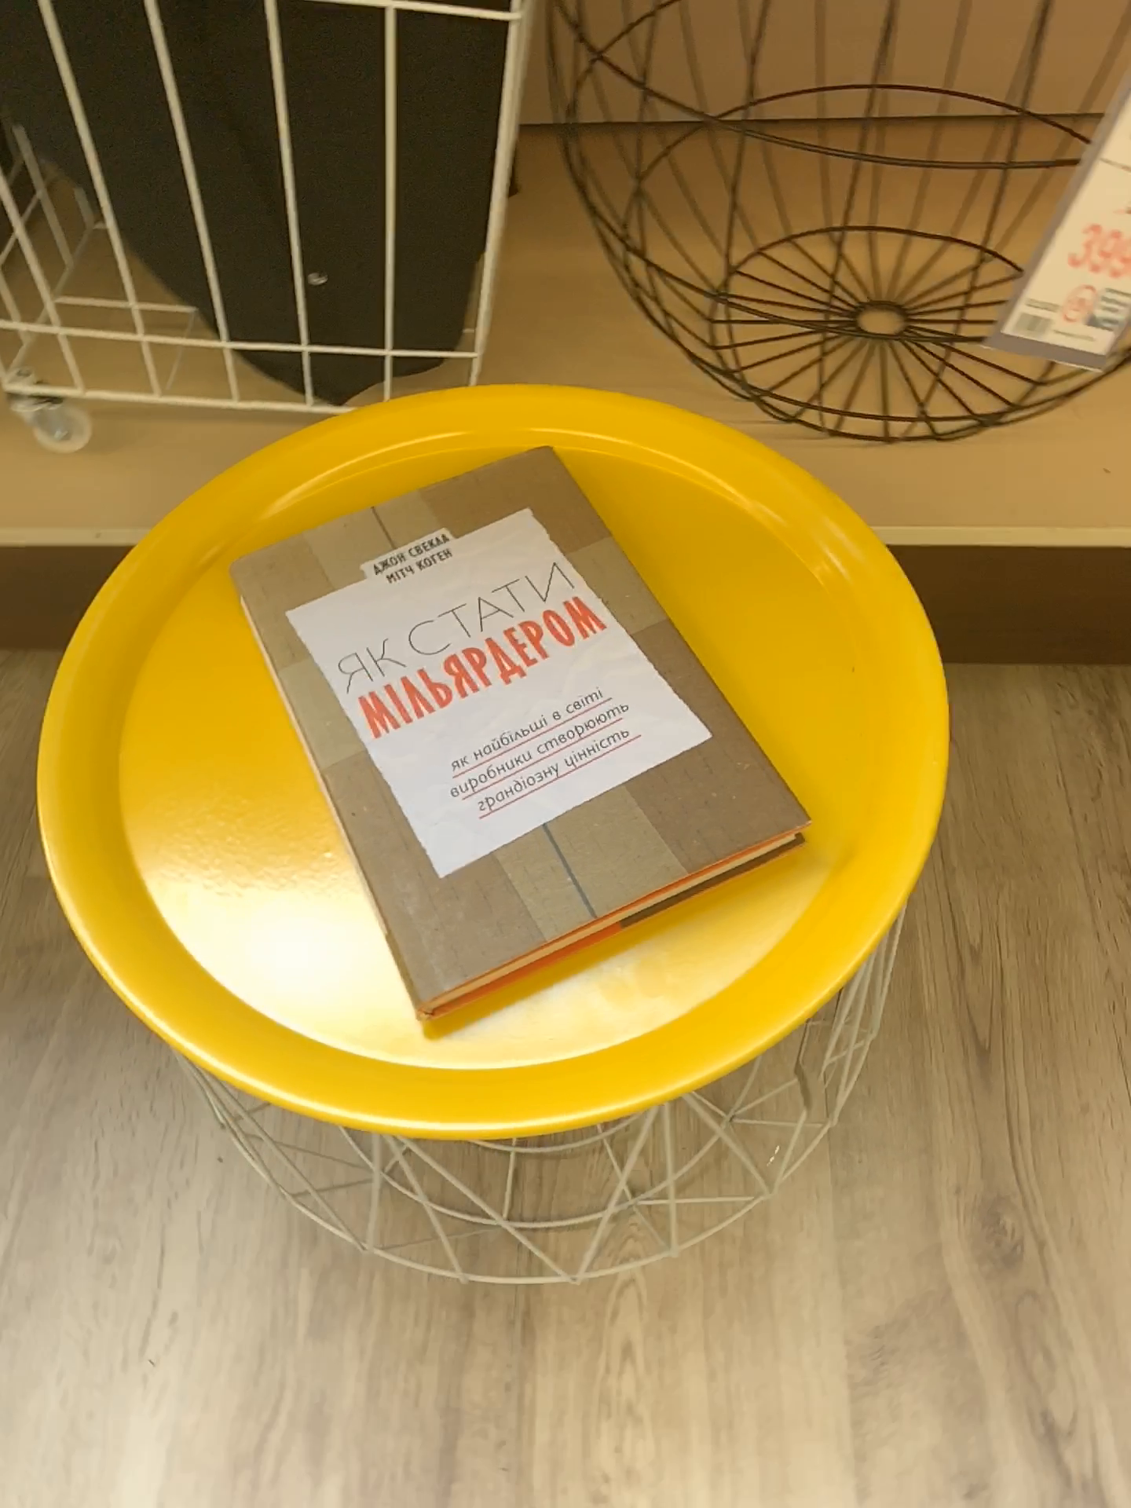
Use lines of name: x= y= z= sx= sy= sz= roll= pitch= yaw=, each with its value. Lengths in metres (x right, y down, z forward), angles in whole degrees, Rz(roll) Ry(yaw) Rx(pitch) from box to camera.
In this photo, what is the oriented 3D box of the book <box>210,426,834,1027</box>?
book: x=-0.029 y=-0.029 z=0.482 sx=0.170 sy=0.020 sz=0.236 roll=-24 pitch=59 yaw=-12
